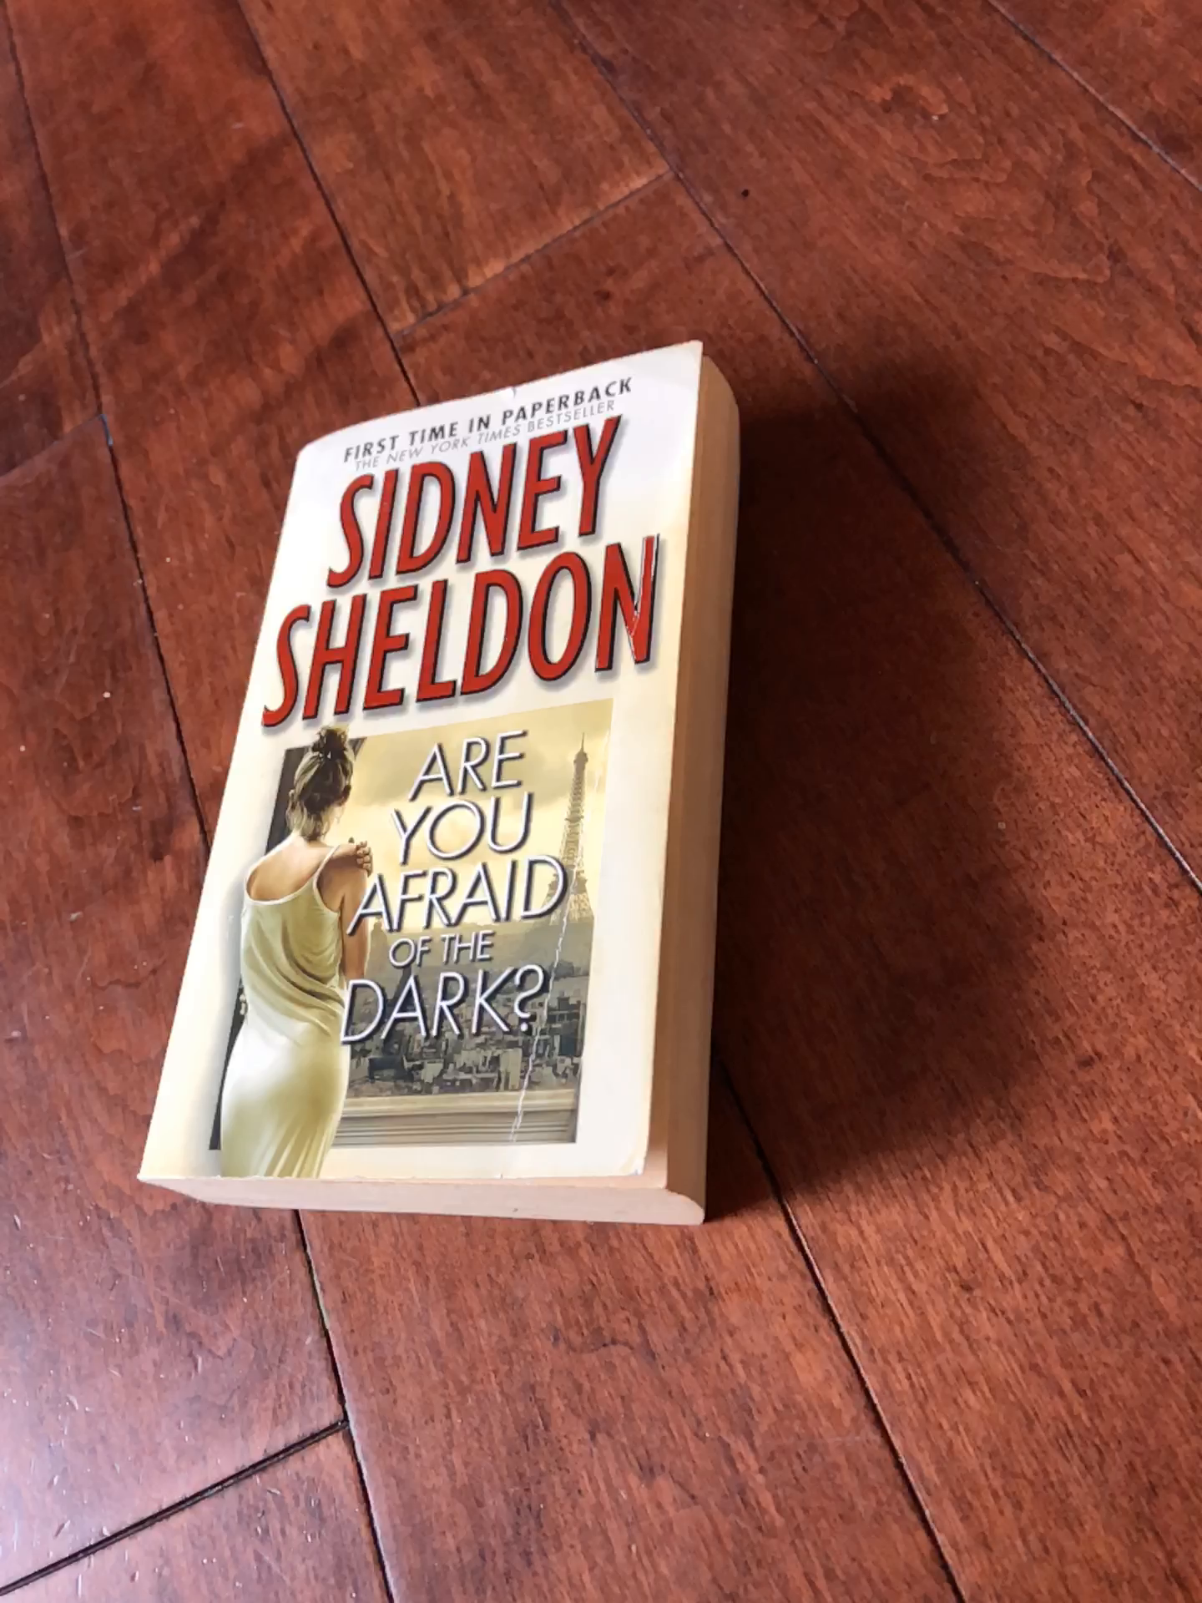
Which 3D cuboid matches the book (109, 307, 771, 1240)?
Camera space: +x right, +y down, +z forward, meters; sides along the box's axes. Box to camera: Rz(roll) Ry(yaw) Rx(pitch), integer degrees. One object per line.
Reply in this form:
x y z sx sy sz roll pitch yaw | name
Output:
-0.025 -0.007 0.278 0.108 0.040 0.180 -6 62 24 | book
